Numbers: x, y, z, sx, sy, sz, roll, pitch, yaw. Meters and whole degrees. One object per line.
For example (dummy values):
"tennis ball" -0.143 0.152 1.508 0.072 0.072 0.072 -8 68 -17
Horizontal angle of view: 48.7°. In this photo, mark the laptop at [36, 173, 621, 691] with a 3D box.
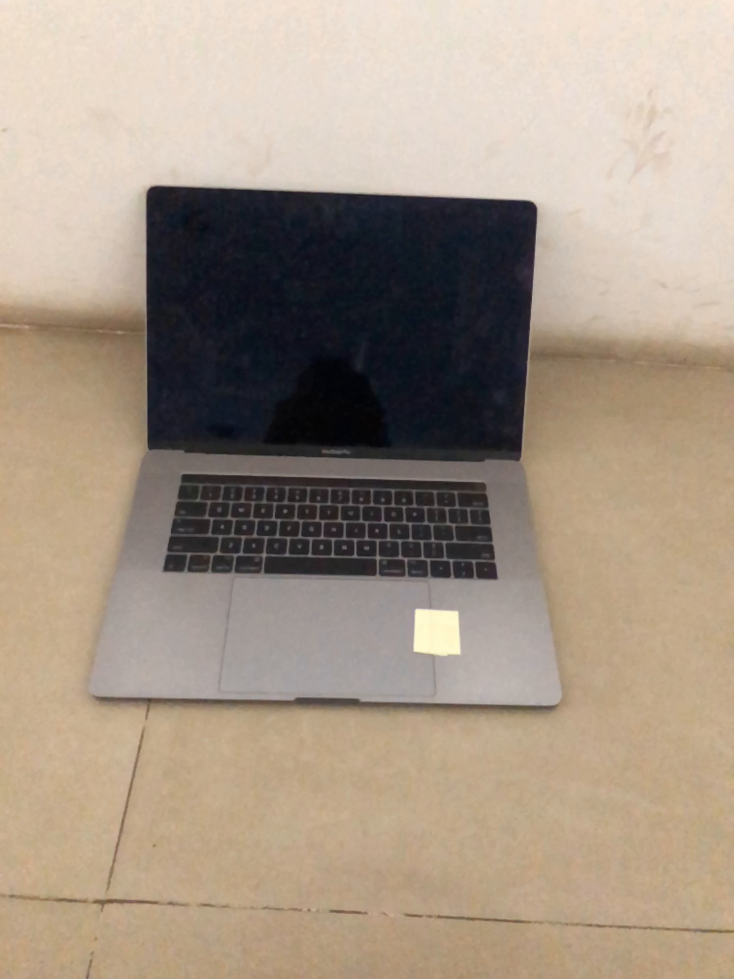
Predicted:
"laptop" -0.024 -0.061 0.637 0.329 0.162 0.382 2 51 -2
